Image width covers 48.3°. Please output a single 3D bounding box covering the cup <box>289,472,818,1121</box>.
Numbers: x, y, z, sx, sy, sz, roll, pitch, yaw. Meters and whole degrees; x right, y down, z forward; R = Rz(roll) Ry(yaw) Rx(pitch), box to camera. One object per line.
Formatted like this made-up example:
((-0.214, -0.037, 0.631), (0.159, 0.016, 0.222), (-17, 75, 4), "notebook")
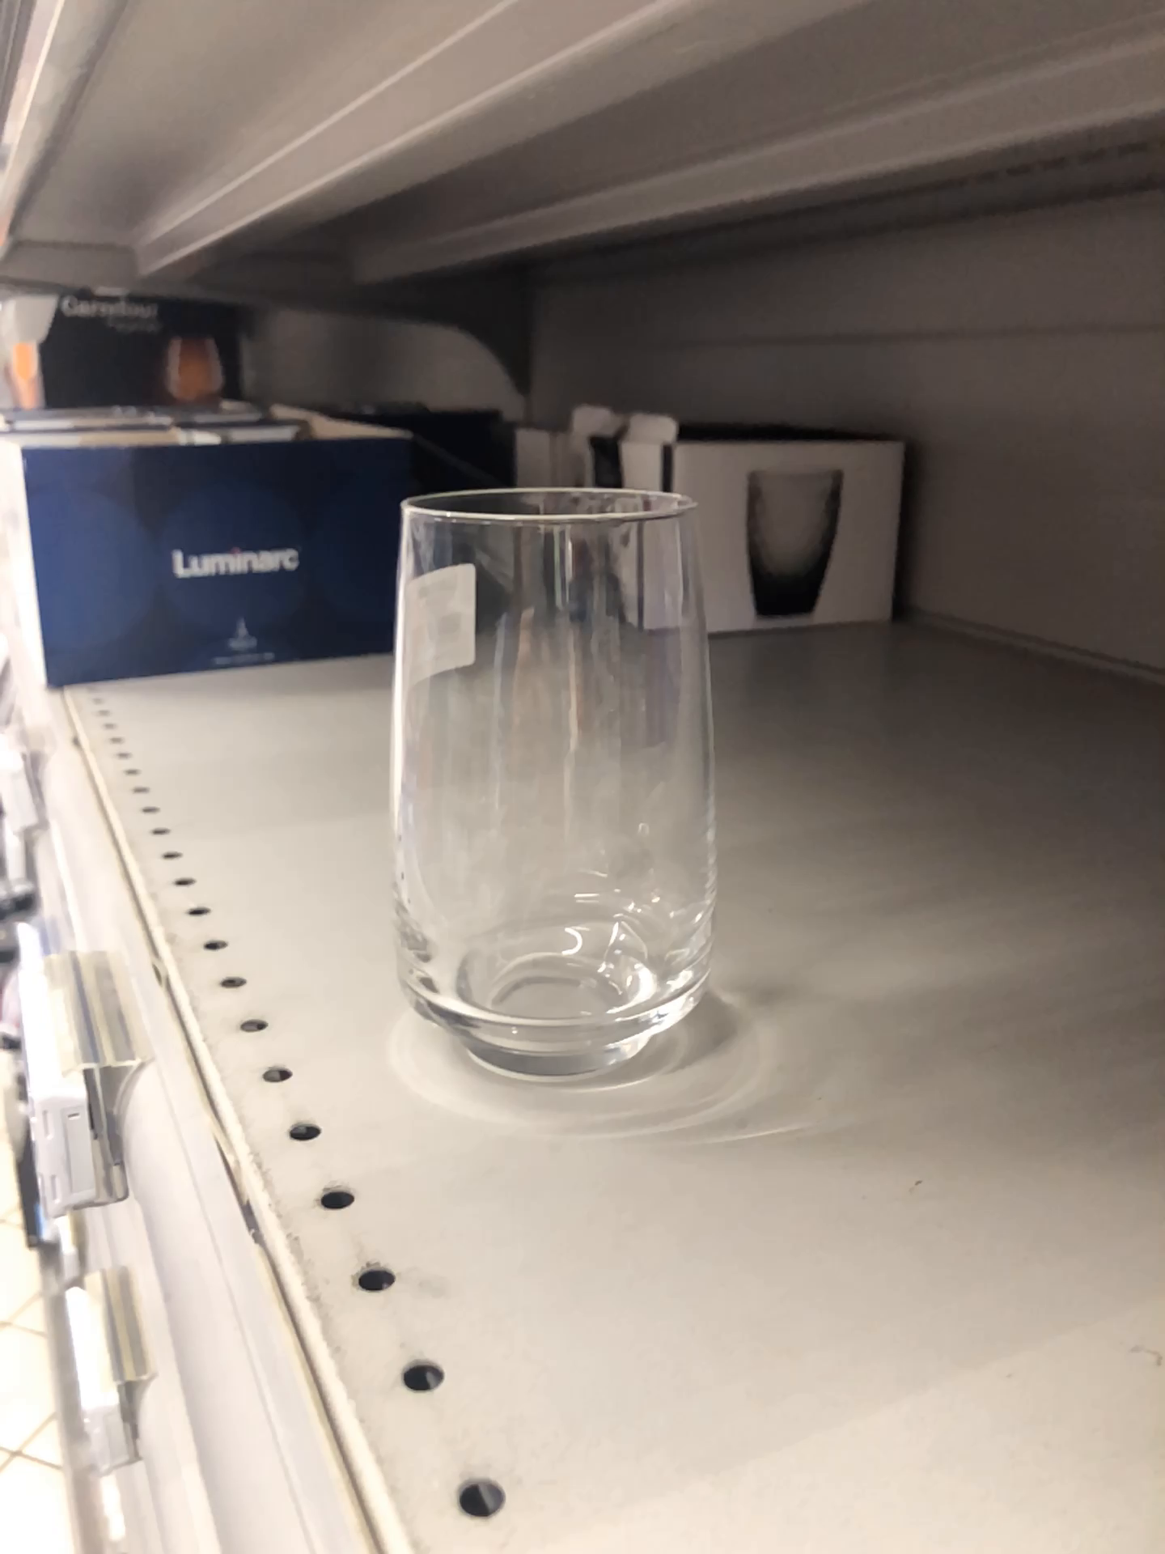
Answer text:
((-0.005, -0.005, 0.280), (0.076, 0.112, 0.076), (0, 17, 0), "cup")
